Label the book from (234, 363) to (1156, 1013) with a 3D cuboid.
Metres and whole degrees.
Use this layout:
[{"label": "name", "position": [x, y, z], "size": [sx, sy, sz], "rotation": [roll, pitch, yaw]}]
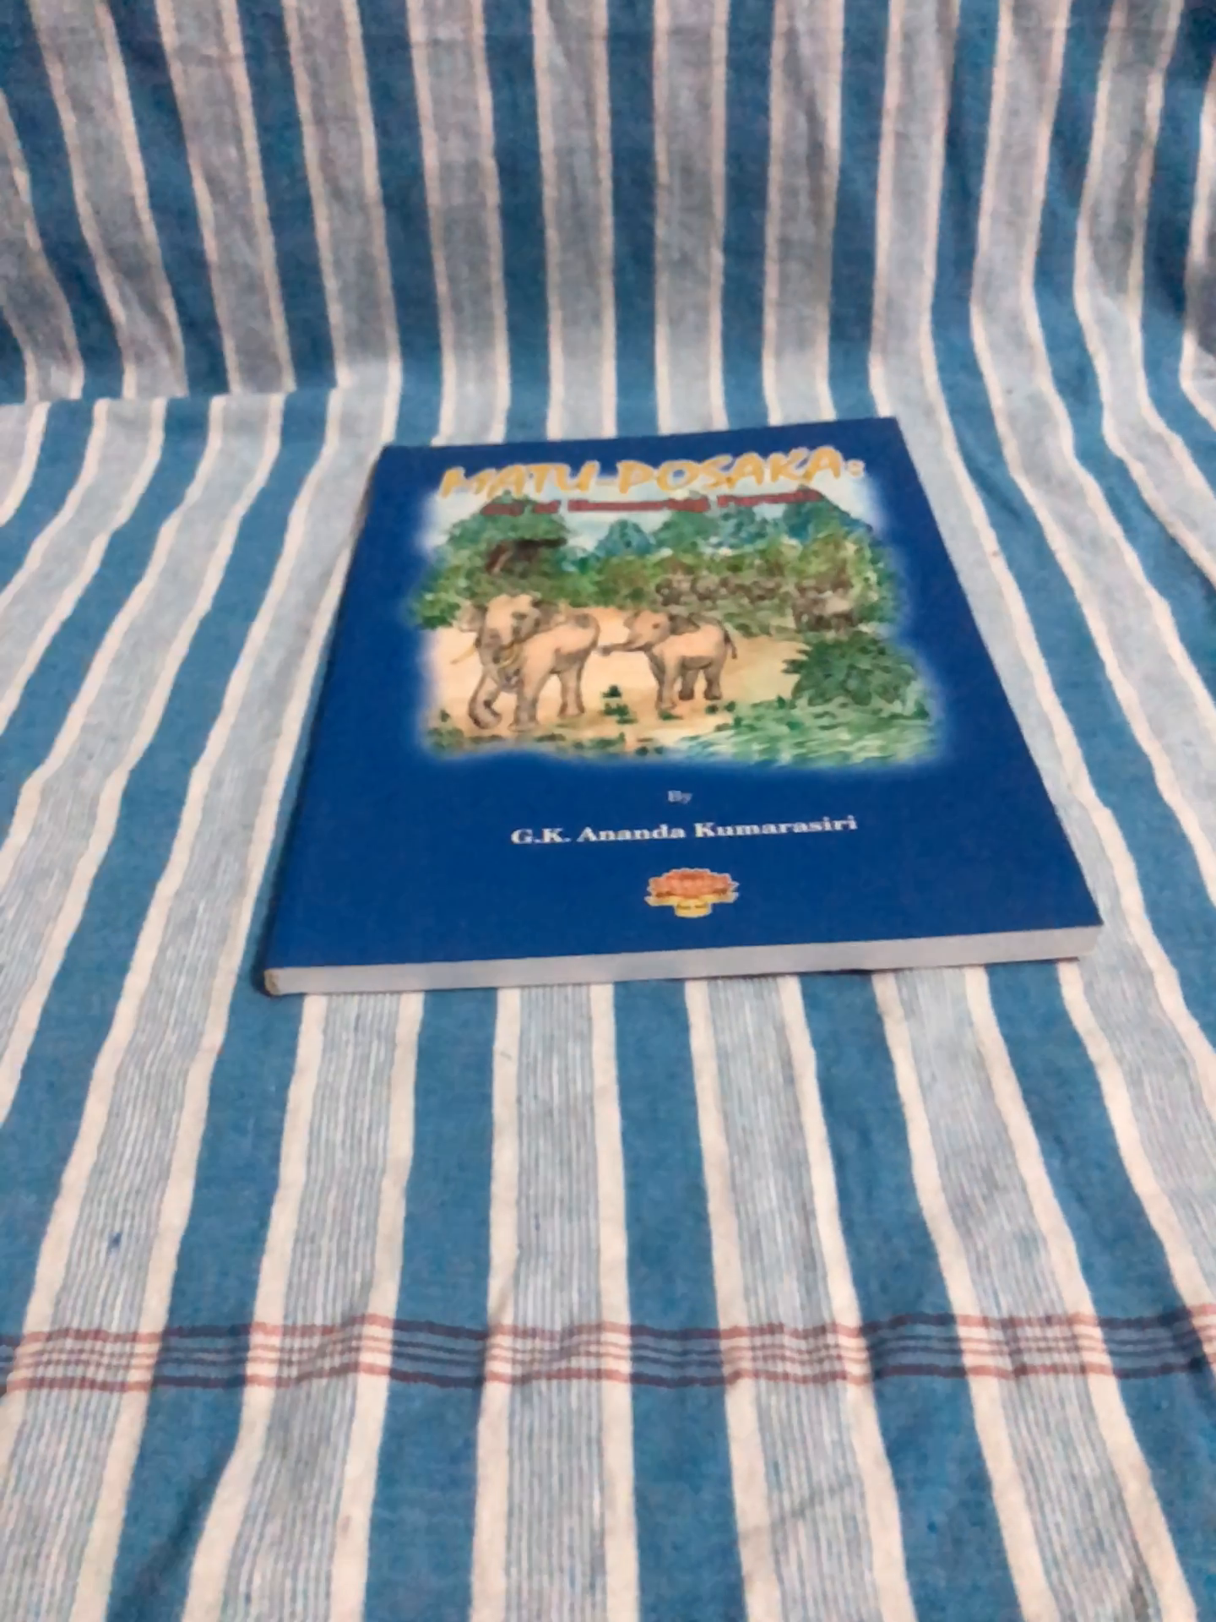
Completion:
[{"label": "book", "position": [0.015, -0.050, 0.342], "size": [0.170, 0.020, 0.231], "rotation": [-3, 42, 2]}]
